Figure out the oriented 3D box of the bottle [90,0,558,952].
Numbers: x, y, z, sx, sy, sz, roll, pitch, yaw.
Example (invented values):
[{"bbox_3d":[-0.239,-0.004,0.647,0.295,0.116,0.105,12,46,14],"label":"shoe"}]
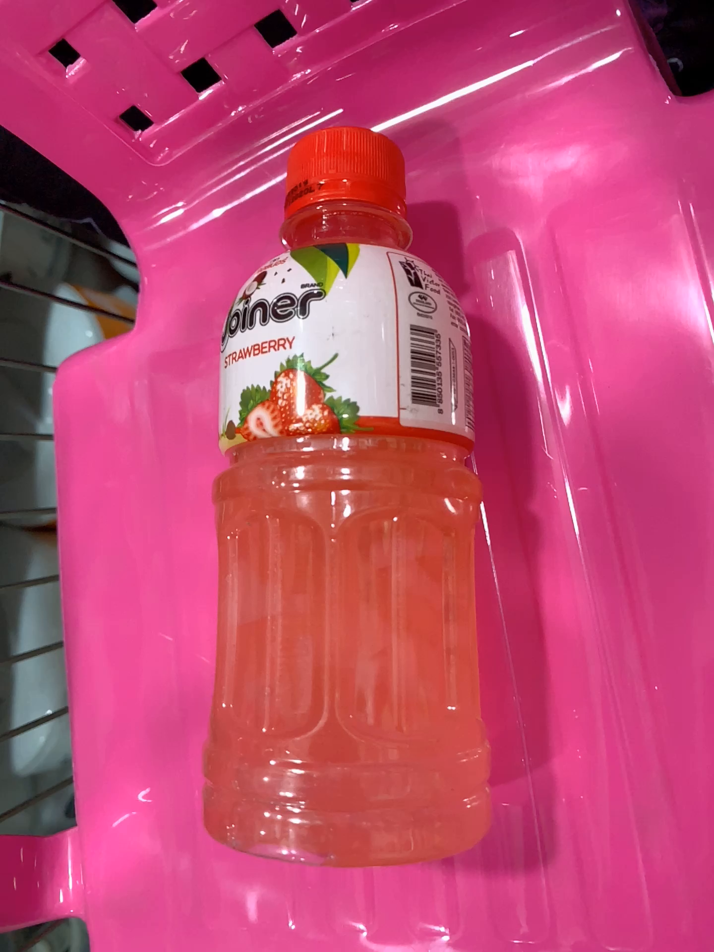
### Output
[{"bbox_3d":[-0.005,-0.005,0.161,0.070,0.070,0.160,-5,83,27],"label":"bottle"}]
